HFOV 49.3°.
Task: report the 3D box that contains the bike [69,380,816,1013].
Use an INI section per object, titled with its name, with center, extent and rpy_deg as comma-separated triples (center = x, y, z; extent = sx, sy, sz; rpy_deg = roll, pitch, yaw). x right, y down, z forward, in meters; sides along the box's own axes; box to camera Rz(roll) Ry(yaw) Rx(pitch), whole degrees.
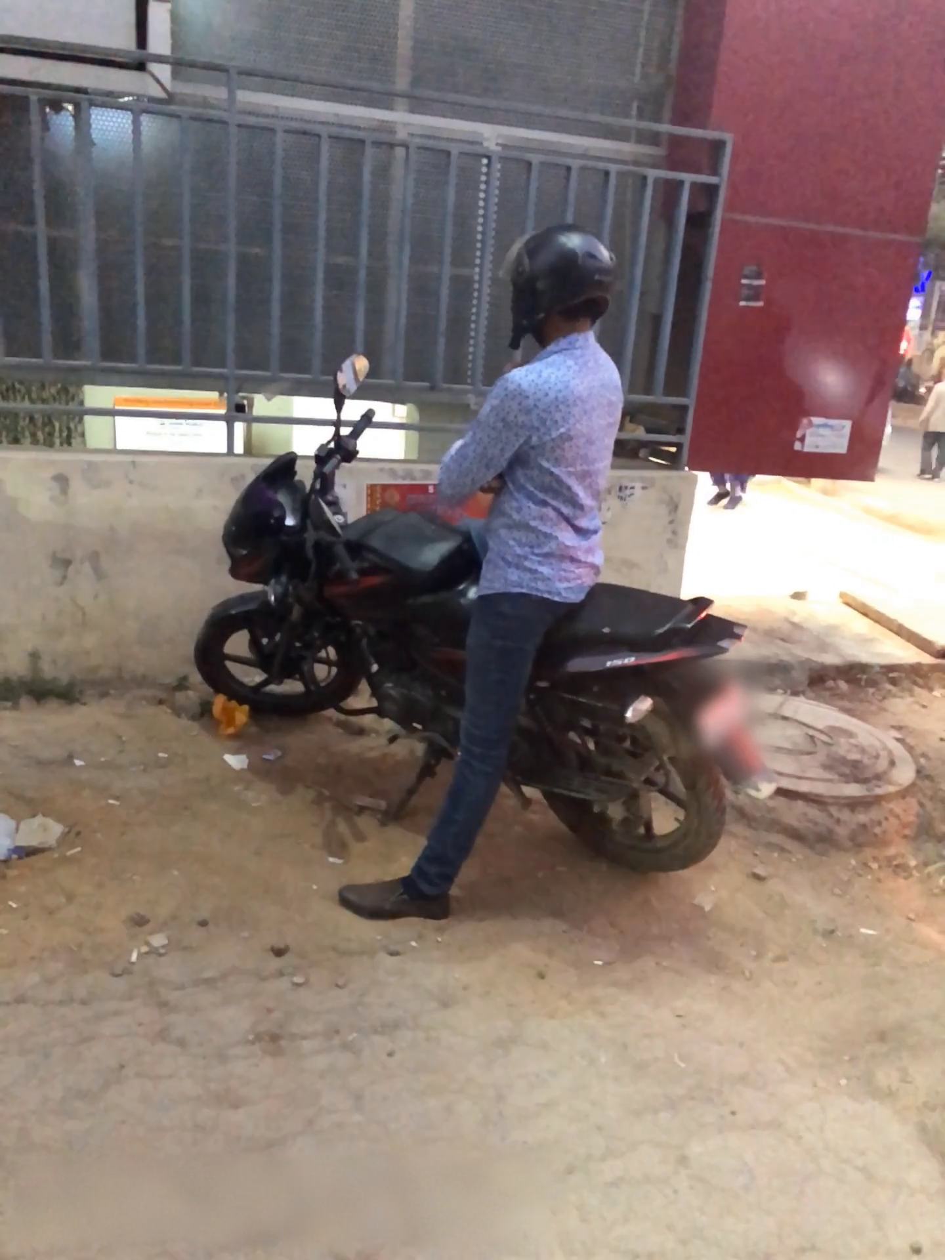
[bike]
center = -0.160, 0.017, 2.860
extent = 1.802, 1.145, 0.749
rpy_deg = 15, 20, 27
